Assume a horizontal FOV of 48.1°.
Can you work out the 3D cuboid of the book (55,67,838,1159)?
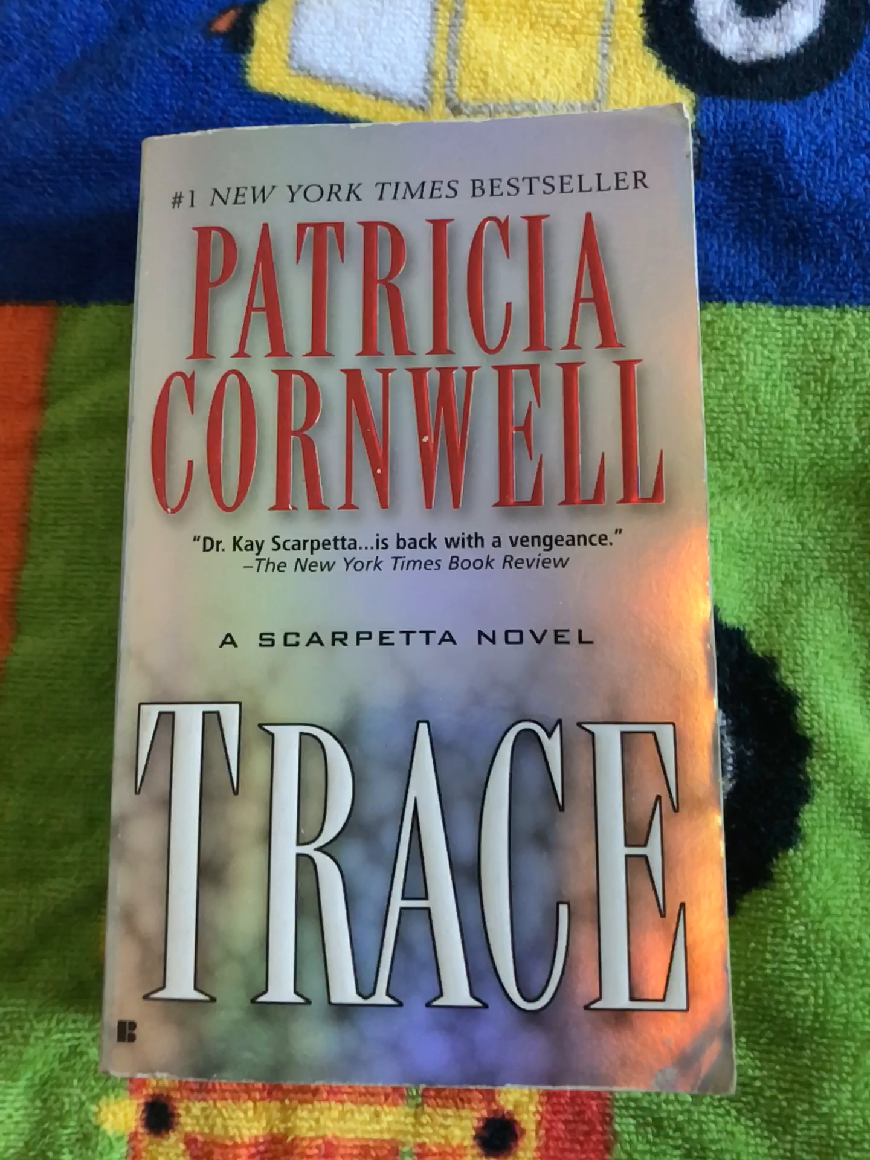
[{"bbox_3d":[0.003,0.001,0.183,0.120,0.040,0.180,0,80,6],"label":"book"}]
